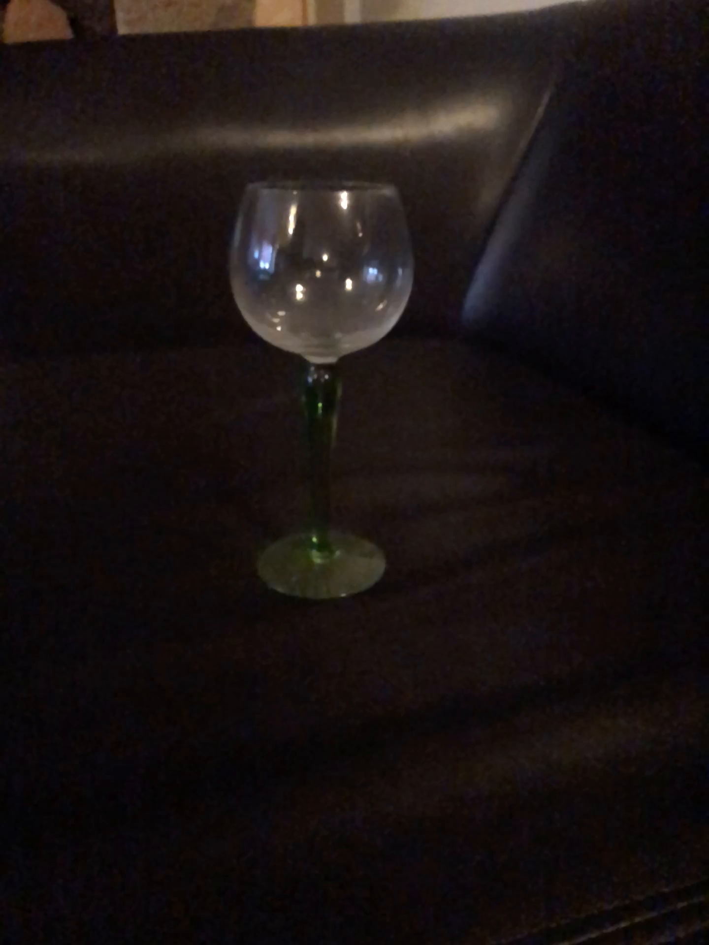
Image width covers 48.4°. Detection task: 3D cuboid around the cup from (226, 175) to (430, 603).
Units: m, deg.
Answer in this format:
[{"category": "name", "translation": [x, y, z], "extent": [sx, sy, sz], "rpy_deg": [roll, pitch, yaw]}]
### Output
[{"category": "cup", "translation": [-0.017, -0.042, 0.377], "extent": [0.080, 0.185, 0.080], "rpy_deg": [1, 21, 0]}]
